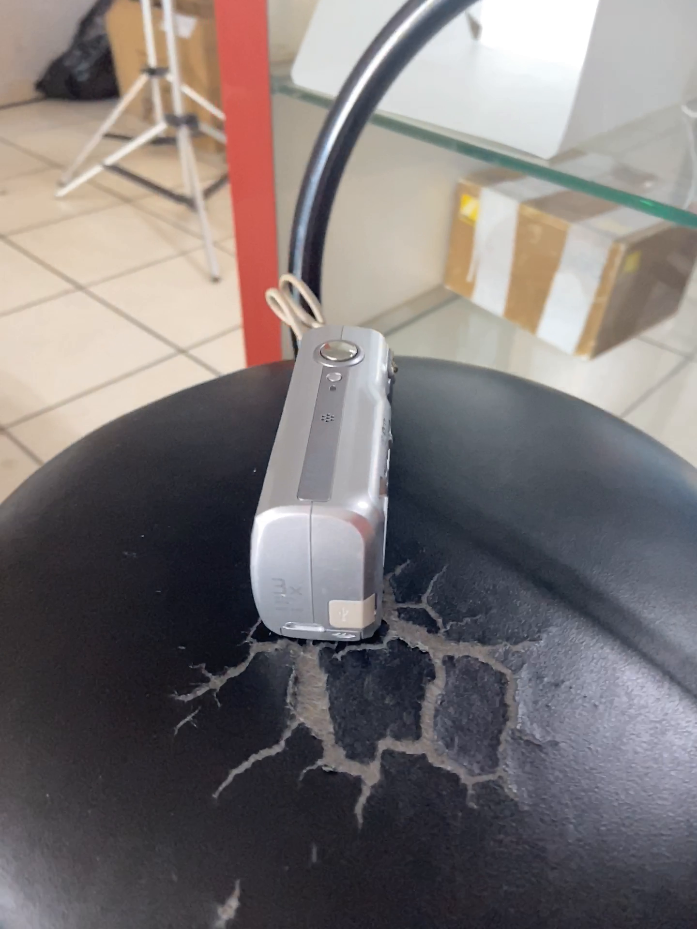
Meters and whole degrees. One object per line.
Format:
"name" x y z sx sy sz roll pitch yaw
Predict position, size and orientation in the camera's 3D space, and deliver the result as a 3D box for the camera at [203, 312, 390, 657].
"camera" -0.011 0.001 0.225 0.040 0.050 0.101 5 40 2
